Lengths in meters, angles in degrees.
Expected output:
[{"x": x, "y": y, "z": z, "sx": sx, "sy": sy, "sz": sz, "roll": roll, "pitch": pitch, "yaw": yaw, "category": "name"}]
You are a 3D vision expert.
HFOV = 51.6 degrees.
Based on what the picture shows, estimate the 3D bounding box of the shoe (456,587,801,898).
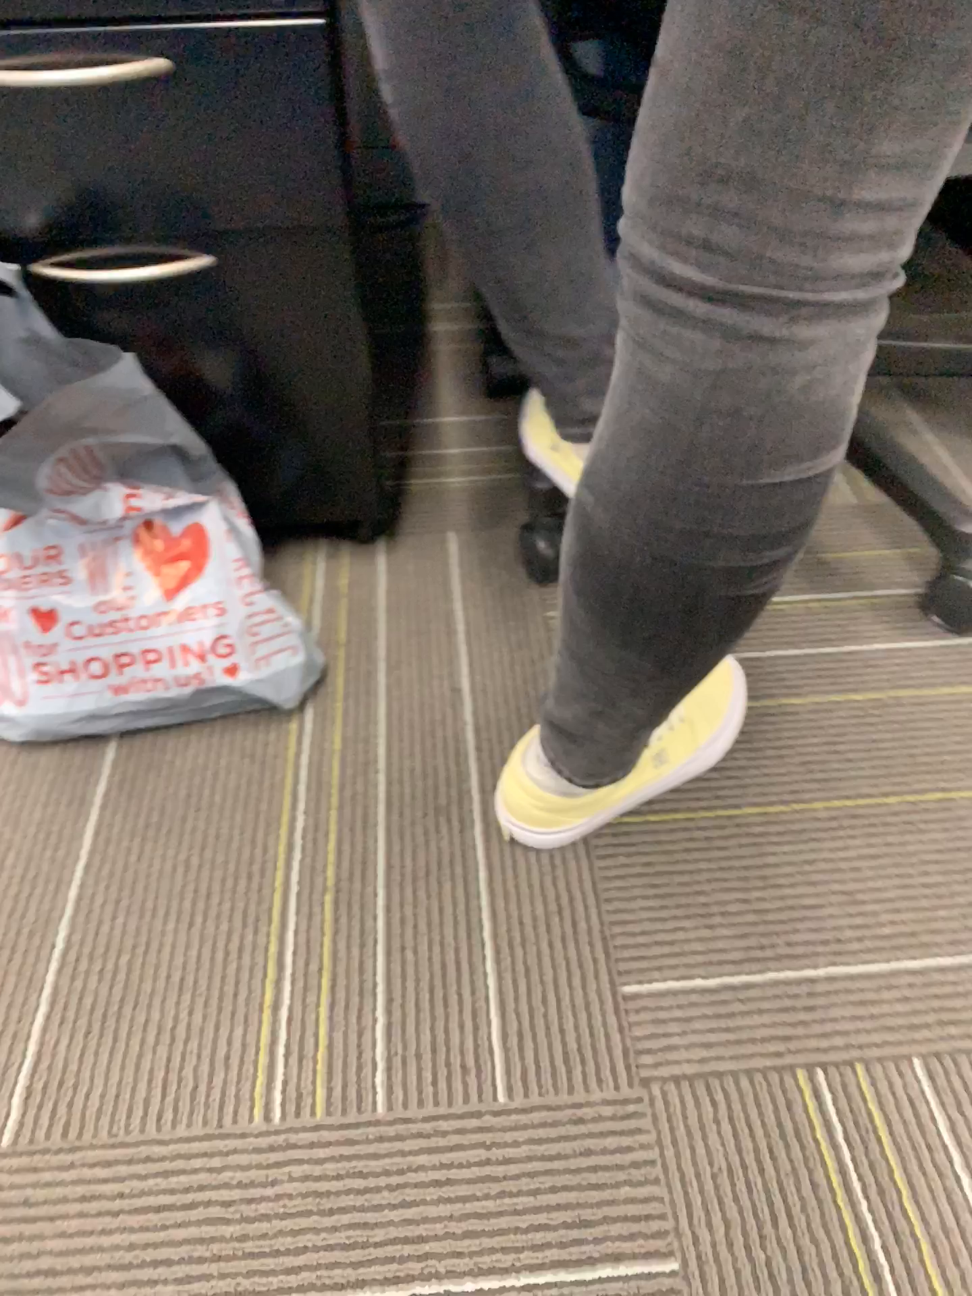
[{"x": 0.116, "y": 0.068, "z": 0.811, "sx": 0.268, "sy": 0.101, "sz": 0.103, "roll": -28, "pitch": 48, "yaw": -26, "category": "shoe"}]

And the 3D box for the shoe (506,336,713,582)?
[{"x": 0.104, "y": -0.186, "z": 0.943, "sx": 0.098, "sy": 0.096, "sz": 0.261, "roll": -12, "pitch": 43, "yaw": -11, "category": "shoe"}]
